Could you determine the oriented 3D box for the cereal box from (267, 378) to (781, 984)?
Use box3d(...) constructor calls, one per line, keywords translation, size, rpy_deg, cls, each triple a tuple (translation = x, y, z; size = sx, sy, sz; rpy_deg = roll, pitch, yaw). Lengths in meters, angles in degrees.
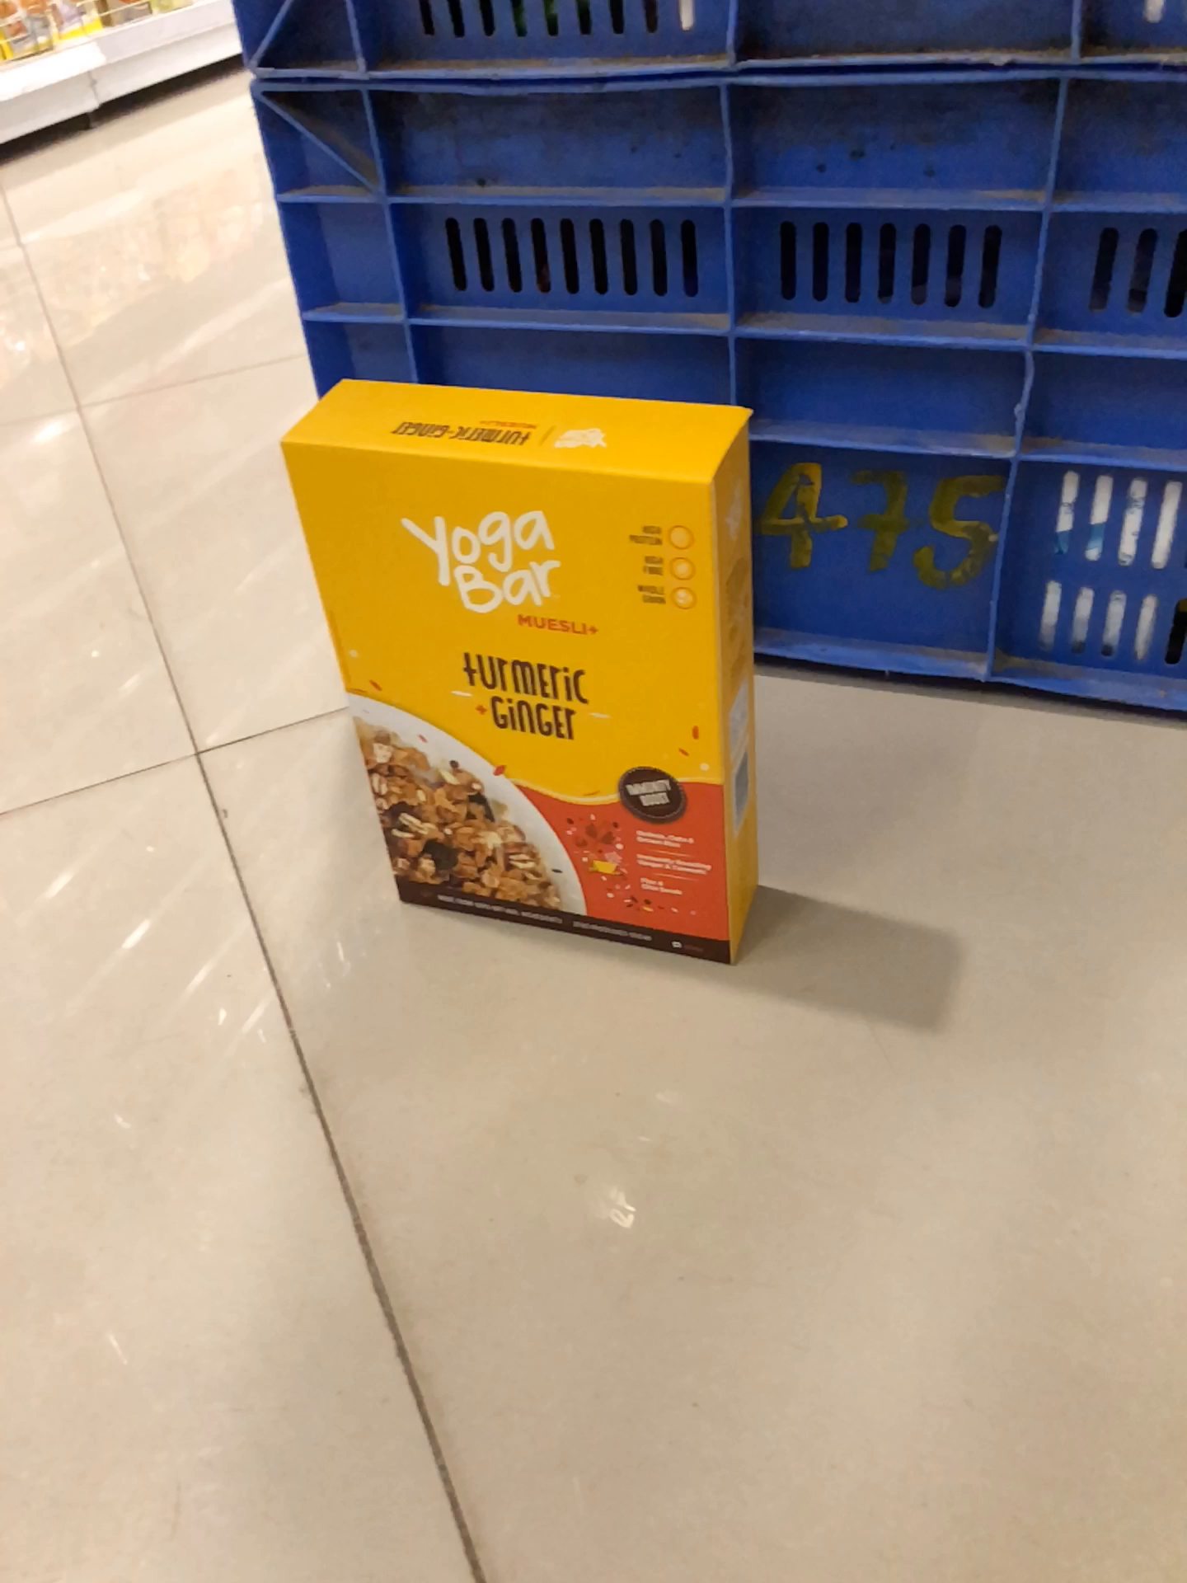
box3d(translation=(-0.015, -0.040, 0.528), size=(0.170, 0.228, 0.060), rpy_deg=(9, 41, 19), cls="cereal box")
